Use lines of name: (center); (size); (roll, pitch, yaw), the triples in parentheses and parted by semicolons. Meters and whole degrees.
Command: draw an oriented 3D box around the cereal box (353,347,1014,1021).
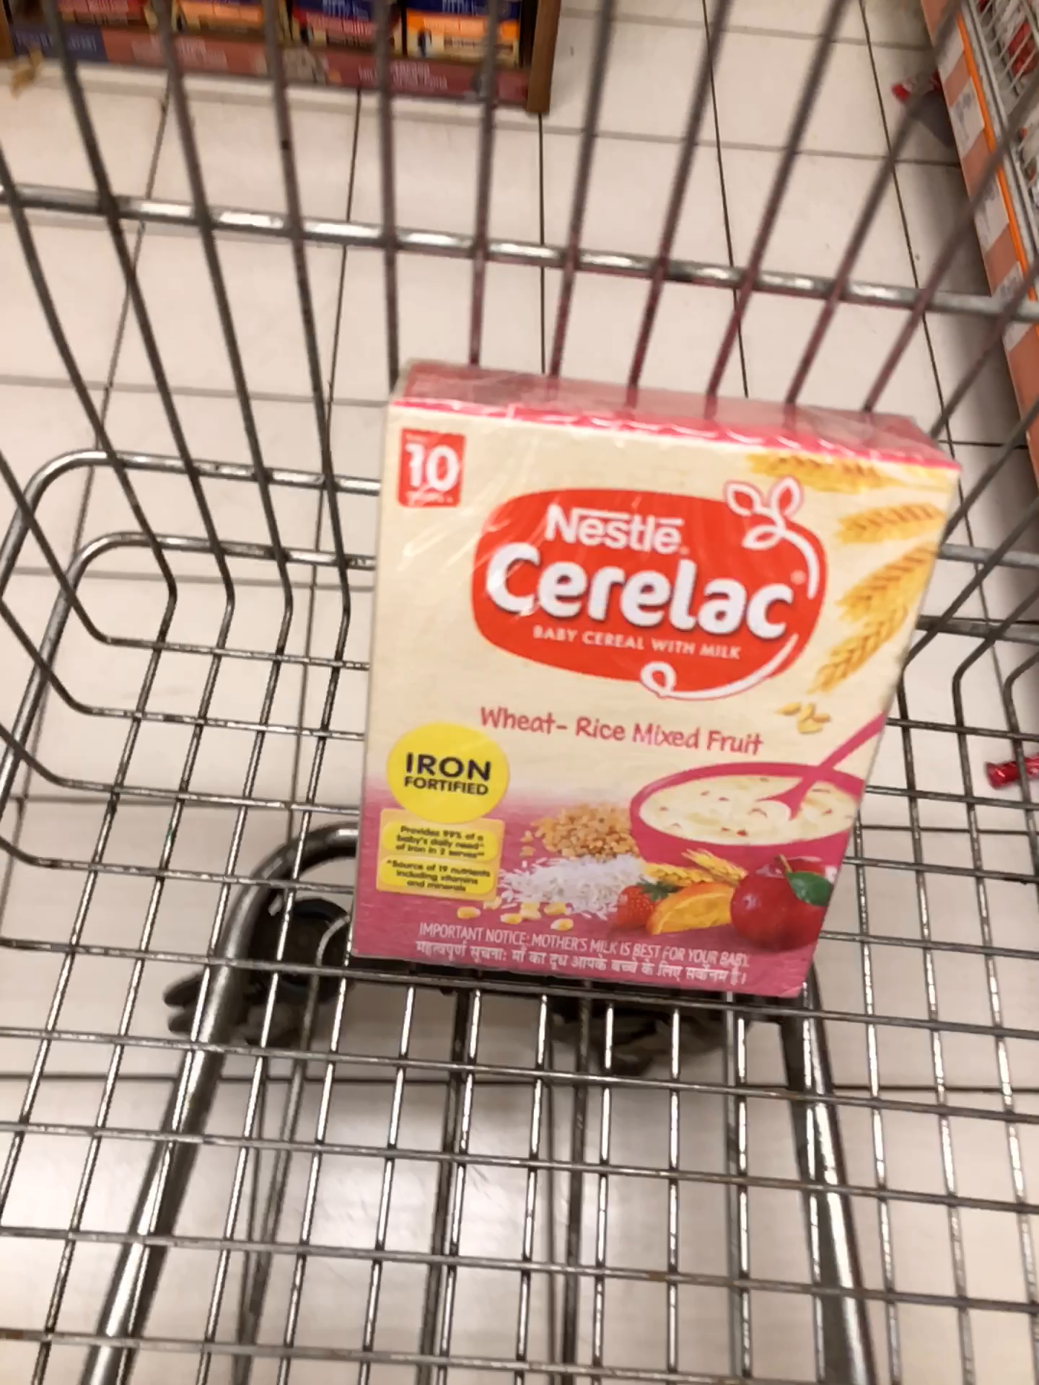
cereal box: (0.034, 0.004, 0.340); (0.150, 0.179, 0.060); (6, 29, -4)
